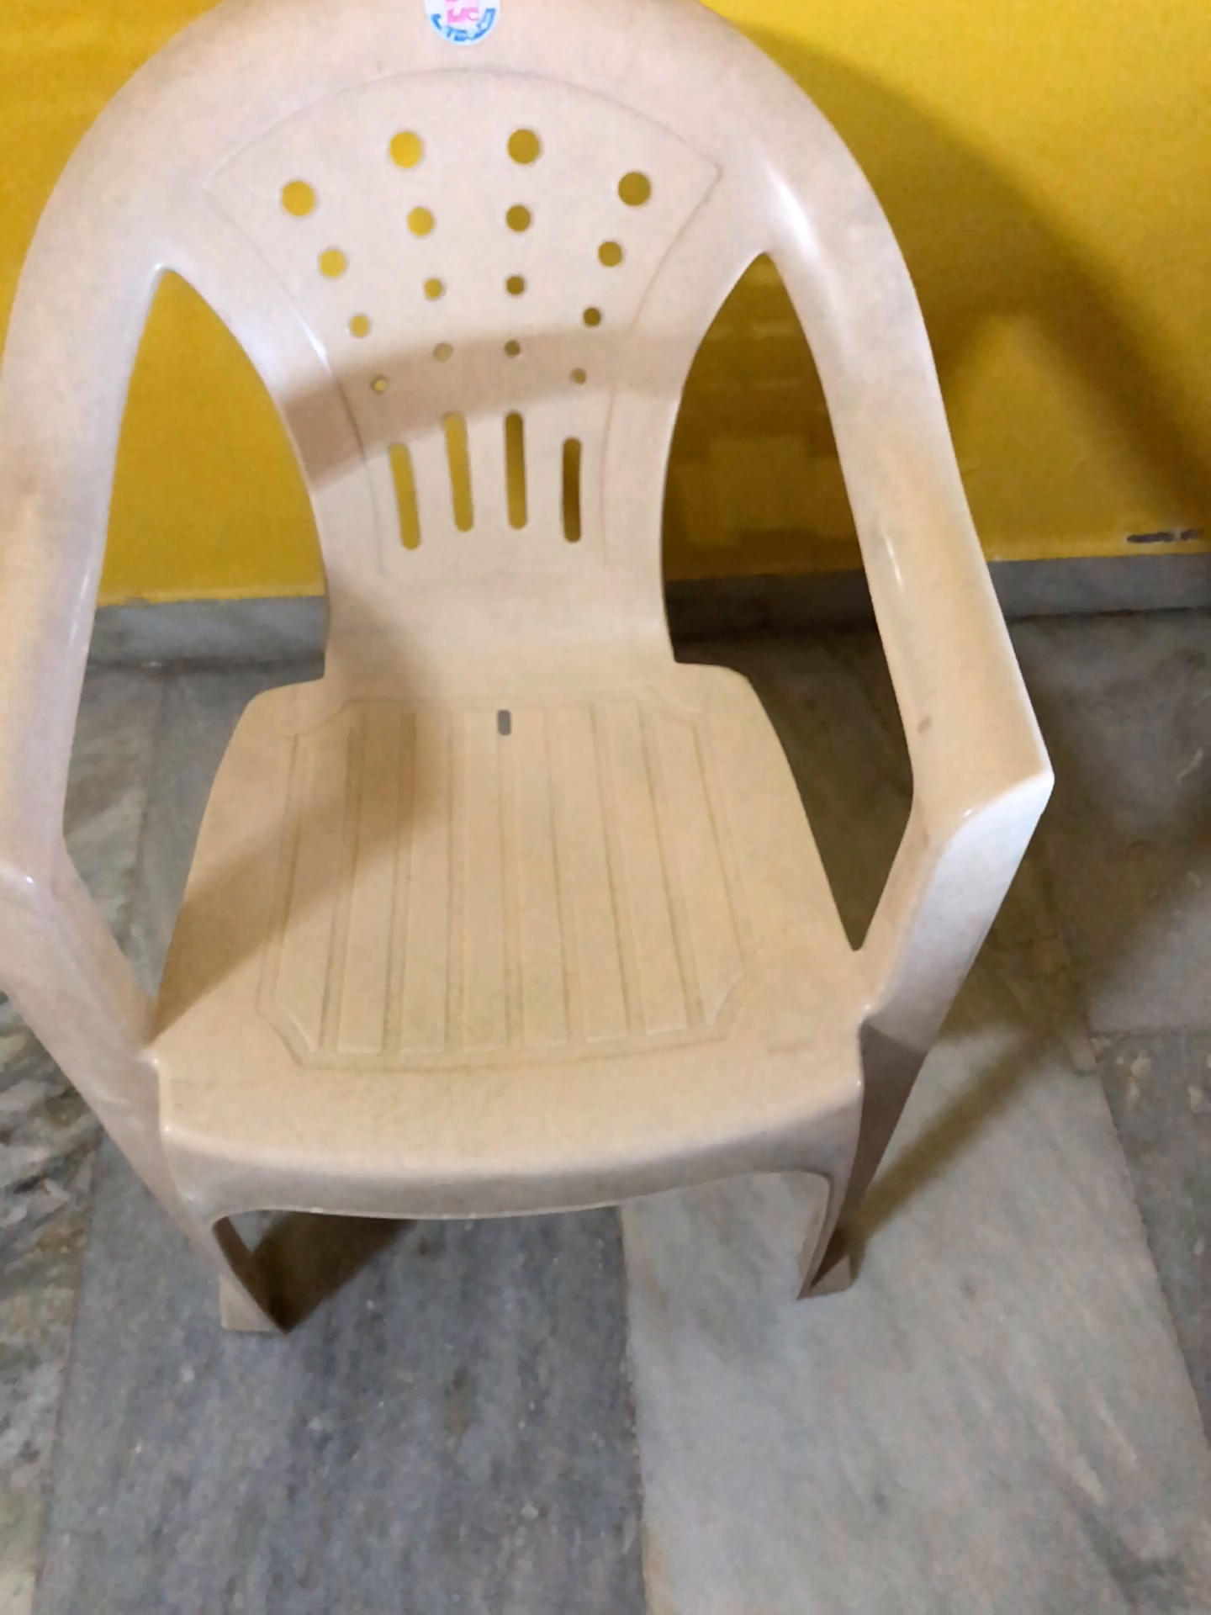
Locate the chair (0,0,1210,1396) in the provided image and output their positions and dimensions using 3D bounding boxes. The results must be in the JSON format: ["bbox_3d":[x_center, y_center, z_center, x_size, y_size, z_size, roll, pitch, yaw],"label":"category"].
[{"bbox_3d":[-0.053,-0.015,0.864,0.530,0.786,0.563,-3,57,-3],"label":"chair"}]
